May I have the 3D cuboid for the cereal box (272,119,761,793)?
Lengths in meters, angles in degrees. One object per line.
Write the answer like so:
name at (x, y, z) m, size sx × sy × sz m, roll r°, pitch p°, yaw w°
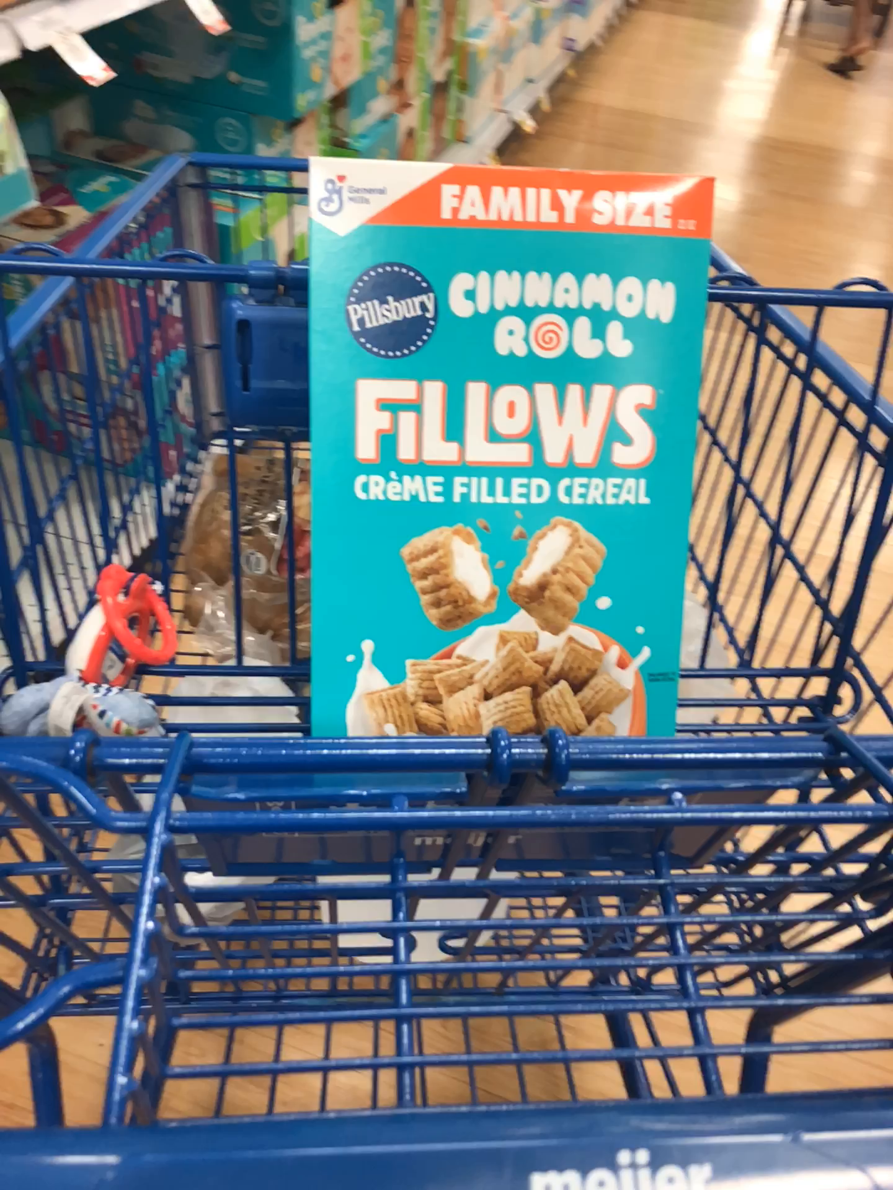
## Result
cereal box at (0.026, -0.056, 0.469) m, size 0.210 × 0.290 × 0.060 m, roll 1°, pitch 9°, yaw -7°
